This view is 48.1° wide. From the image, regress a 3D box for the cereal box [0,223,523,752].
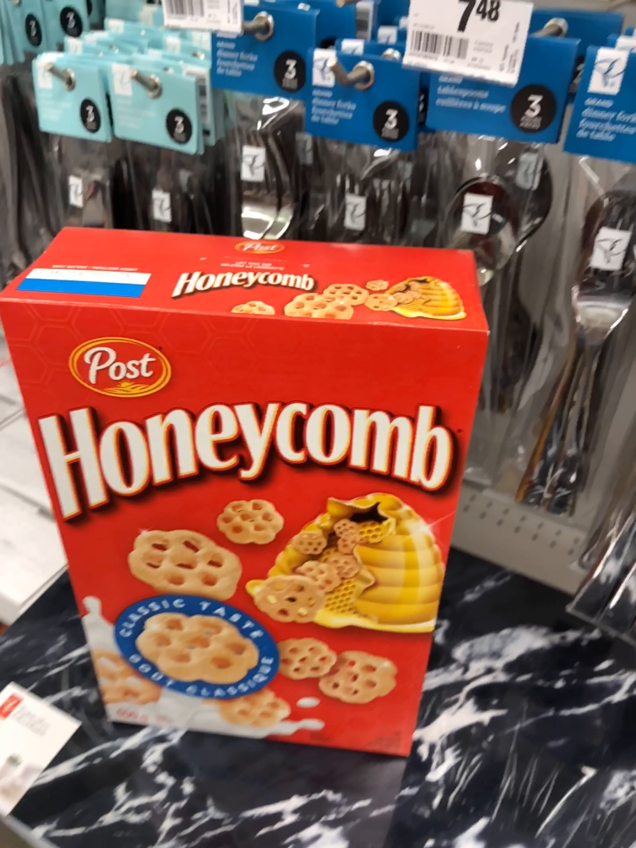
[{"bbox_3d":[-0.026,0.054,0.394,0.210,0.299,0.070,5,36,5],"label":"cereal box"}]
